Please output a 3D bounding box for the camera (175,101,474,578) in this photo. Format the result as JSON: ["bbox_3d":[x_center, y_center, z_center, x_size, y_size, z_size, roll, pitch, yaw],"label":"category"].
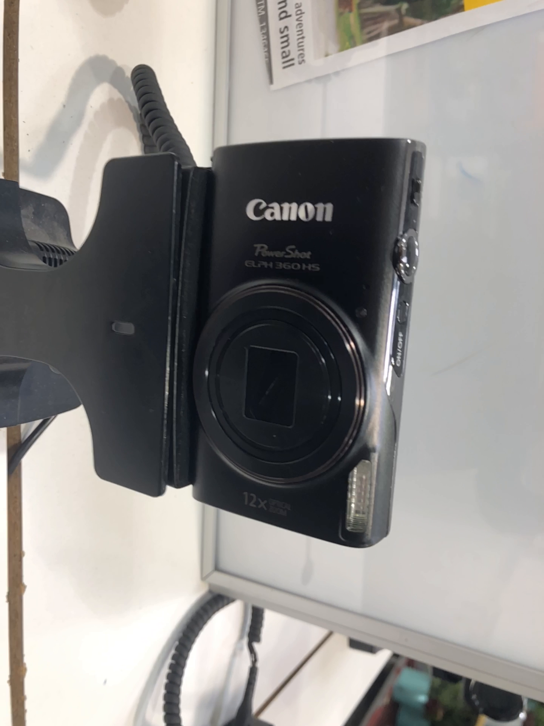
[{"bbox_3d":[0.013,-0.008,0.171,0.030,0.070,0.110,-4,99,-60],"label":"camera"}]
